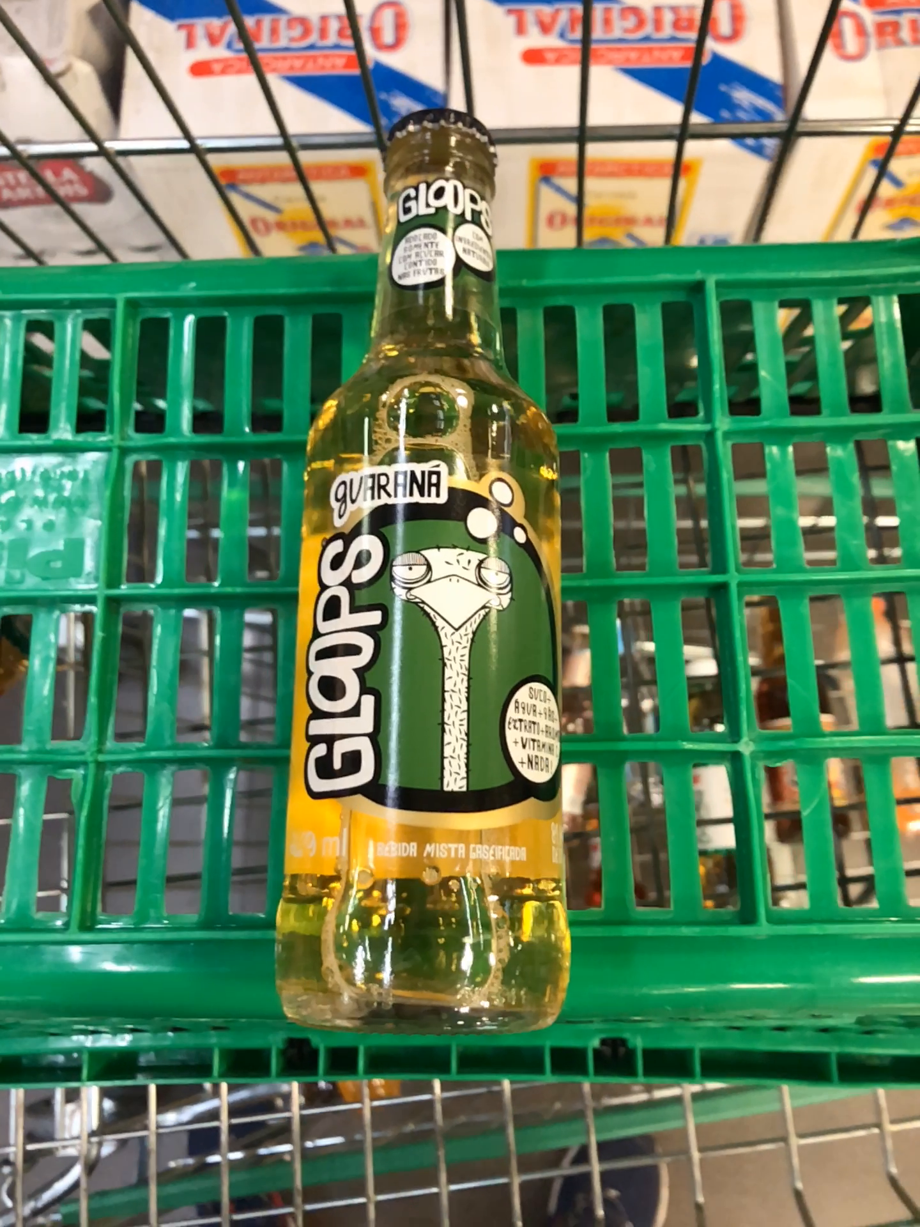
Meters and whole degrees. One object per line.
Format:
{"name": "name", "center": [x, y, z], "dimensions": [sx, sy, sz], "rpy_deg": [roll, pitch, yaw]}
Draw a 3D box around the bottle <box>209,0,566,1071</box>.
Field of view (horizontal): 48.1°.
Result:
{"name": "bottle", "center": [-0.010, -0.025, 0.224], "dimensions": [0.060, 0.050, 0.220], "rpy_deg": [0, 76, 3]}
